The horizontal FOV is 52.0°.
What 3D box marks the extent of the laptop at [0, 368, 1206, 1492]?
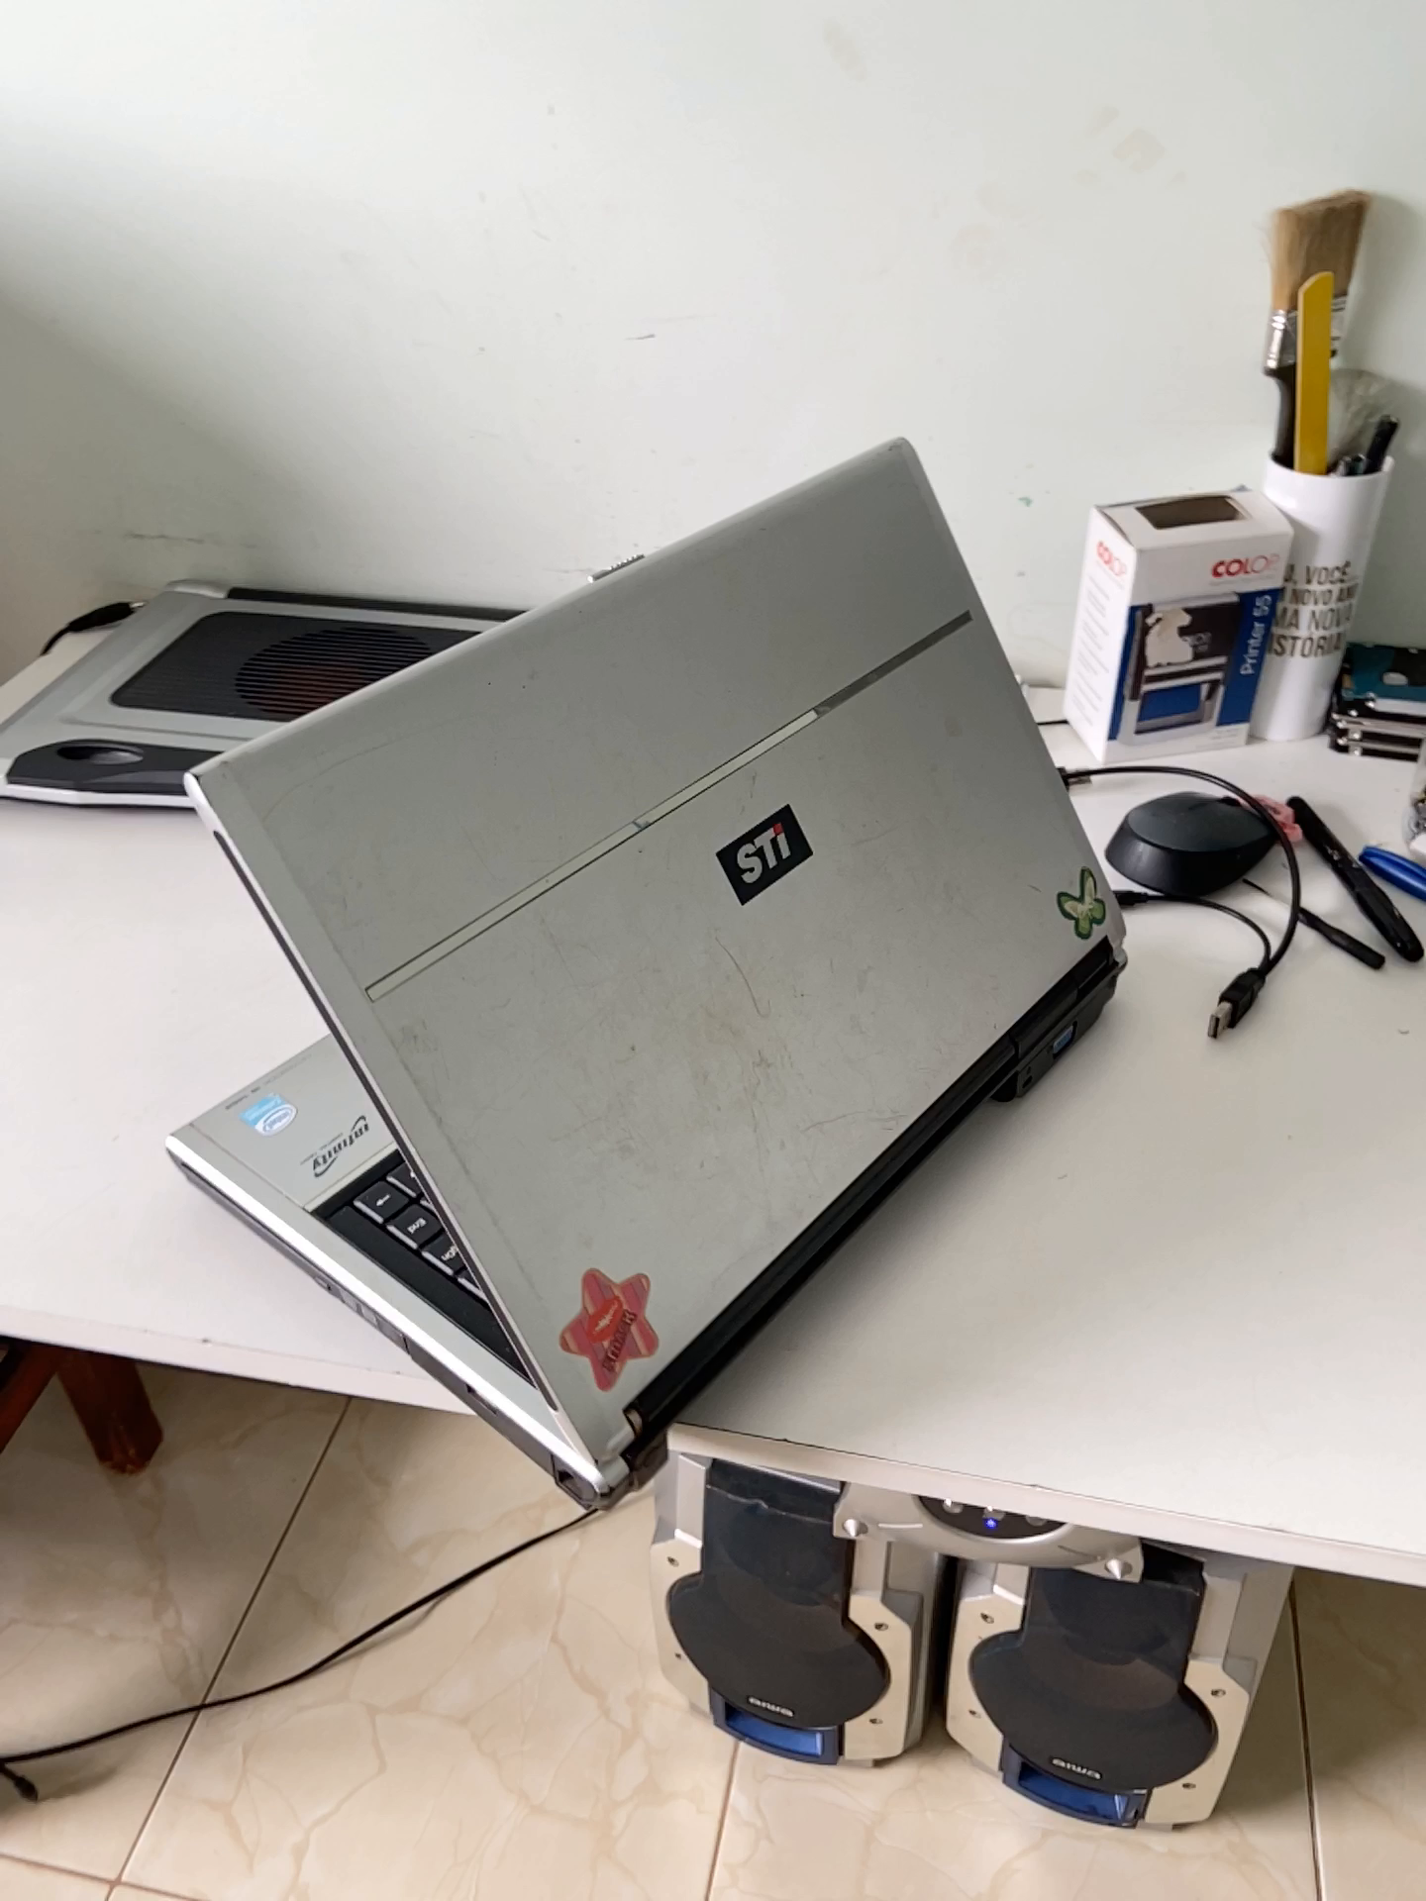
[{"bbox_3d":[-0.016,-0.046,0.551,0.236,0.210,0.339,26,46,31],"label":"laptop"}]
